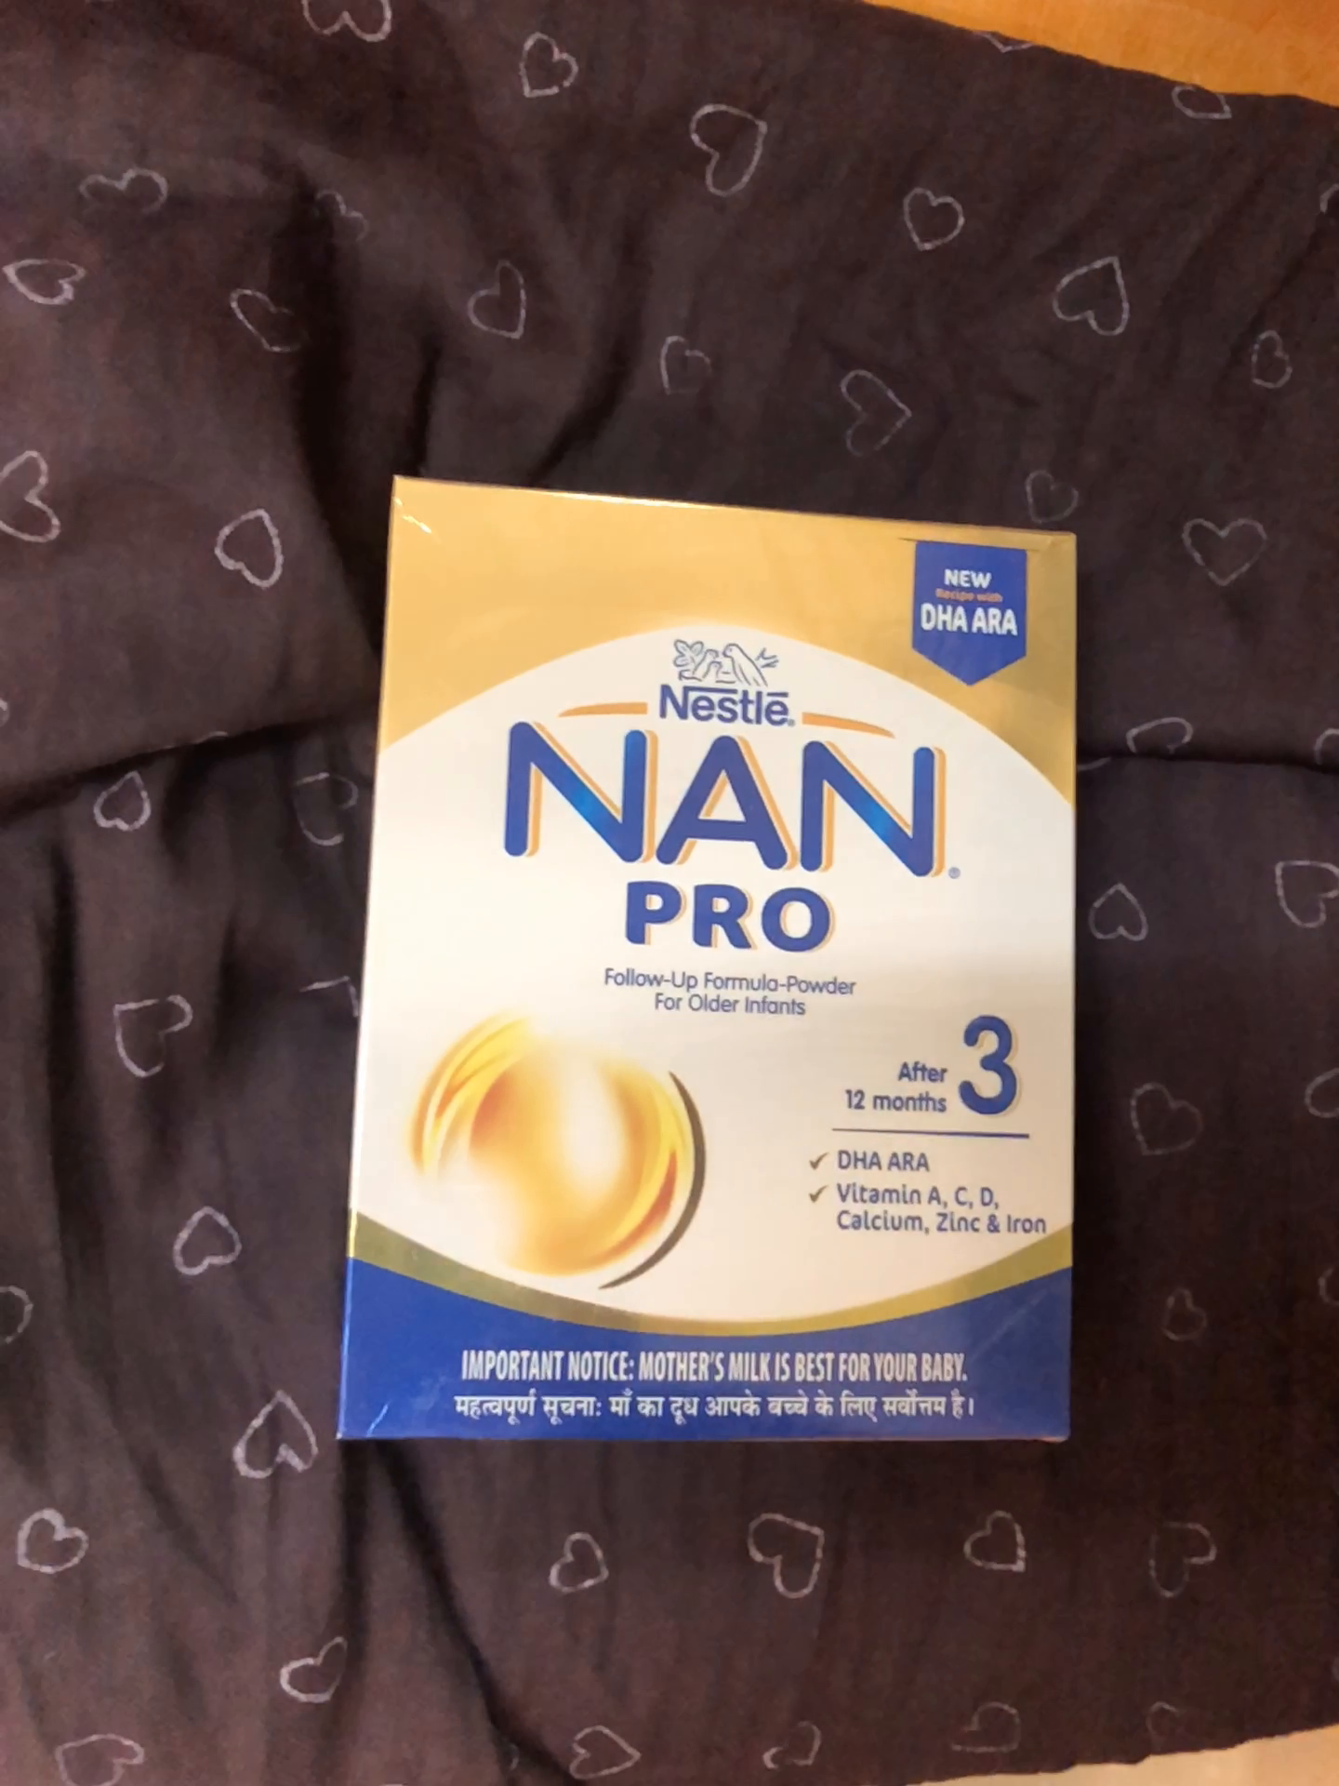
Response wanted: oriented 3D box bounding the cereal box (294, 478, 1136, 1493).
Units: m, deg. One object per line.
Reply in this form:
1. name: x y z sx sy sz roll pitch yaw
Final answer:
1. cereal box: 0.010 0.021 0.325 0.160 0.070 0.190 3 84 -8
